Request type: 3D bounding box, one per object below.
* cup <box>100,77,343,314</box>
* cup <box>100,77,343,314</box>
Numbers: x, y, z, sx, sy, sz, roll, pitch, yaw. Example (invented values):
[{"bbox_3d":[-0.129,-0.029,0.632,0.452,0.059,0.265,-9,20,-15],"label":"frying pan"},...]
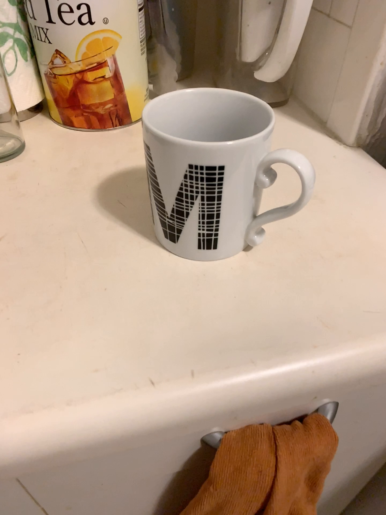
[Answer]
[{"bbox_3d":[0.020,-0.053,0.301,0.130,0.109,0.100,24,47,23],"label":"cup"},{"bbox_3d":[0.020,-0.053,0.301,0.130,0.109,0.100,24,47,23],"label":"cup"}]
